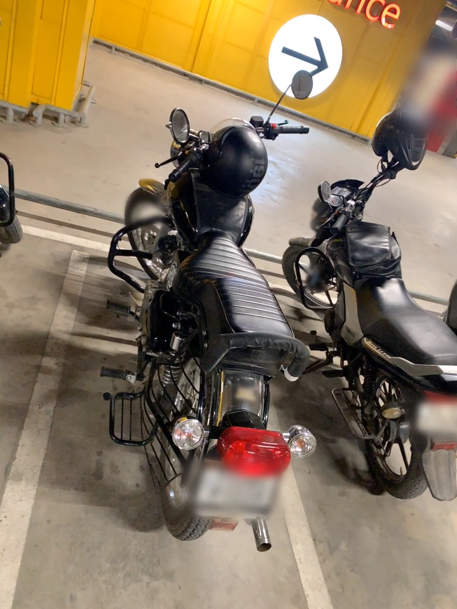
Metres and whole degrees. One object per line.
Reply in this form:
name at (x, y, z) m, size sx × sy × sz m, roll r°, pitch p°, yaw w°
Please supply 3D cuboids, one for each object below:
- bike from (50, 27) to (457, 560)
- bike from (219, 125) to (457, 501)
bike at (-0.218, -0.215, 1.826) m, size 0.764 × 1.050 × 1.831 m, roll 7°, pitch 34°, yaw -24°
bike at (0.544, -0.105, 2.244) m, size 0.599 × 0.924 × 1.725 m, roll 10°, pitch 31°, yaw -20°
